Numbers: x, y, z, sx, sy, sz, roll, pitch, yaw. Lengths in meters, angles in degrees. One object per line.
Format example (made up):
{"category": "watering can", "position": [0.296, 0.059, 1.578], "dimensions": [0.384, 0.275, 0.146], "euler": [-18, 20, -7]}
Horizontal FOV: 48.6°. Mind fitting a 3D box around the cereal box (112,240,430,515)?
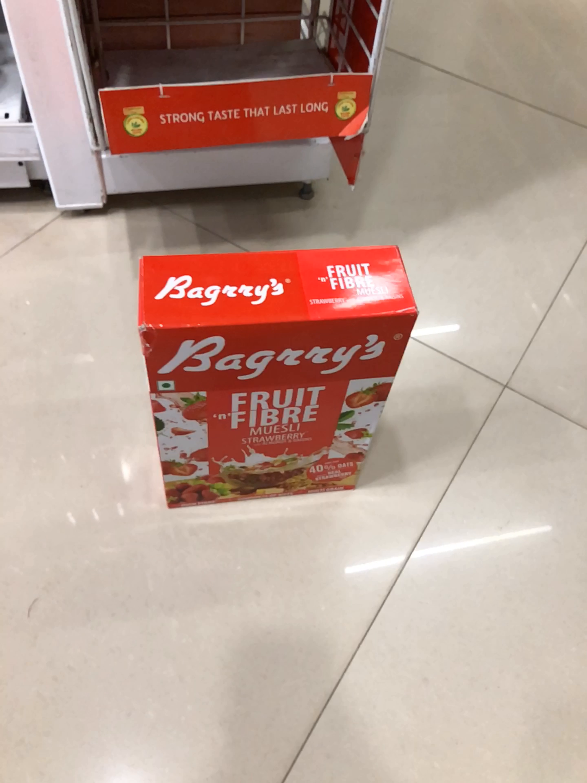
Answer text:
{"category": "cereal box", "position": [-0.027, 0.003, 0.530], "dimensions": [0.200, 0.259, 0.070], "euler": [-4, 55, -9]}
